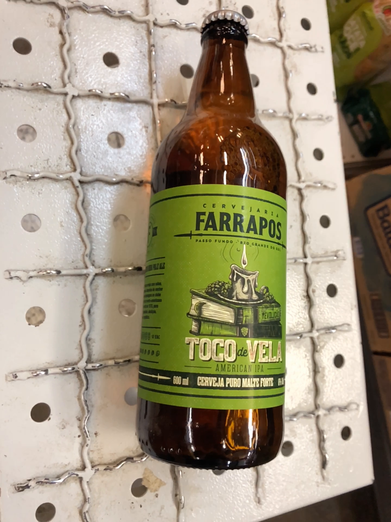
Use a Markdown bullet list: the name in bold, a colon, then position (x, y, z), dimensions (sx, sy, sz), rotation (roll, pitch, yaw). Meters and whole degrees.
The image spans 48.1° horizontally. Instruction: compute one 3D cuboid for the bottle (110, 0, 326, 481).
- **bottle**: position (0.013, -0.036, 0.237), dimensions (0.080, 0.070, 0.260), rotation (7, 81, -26)
